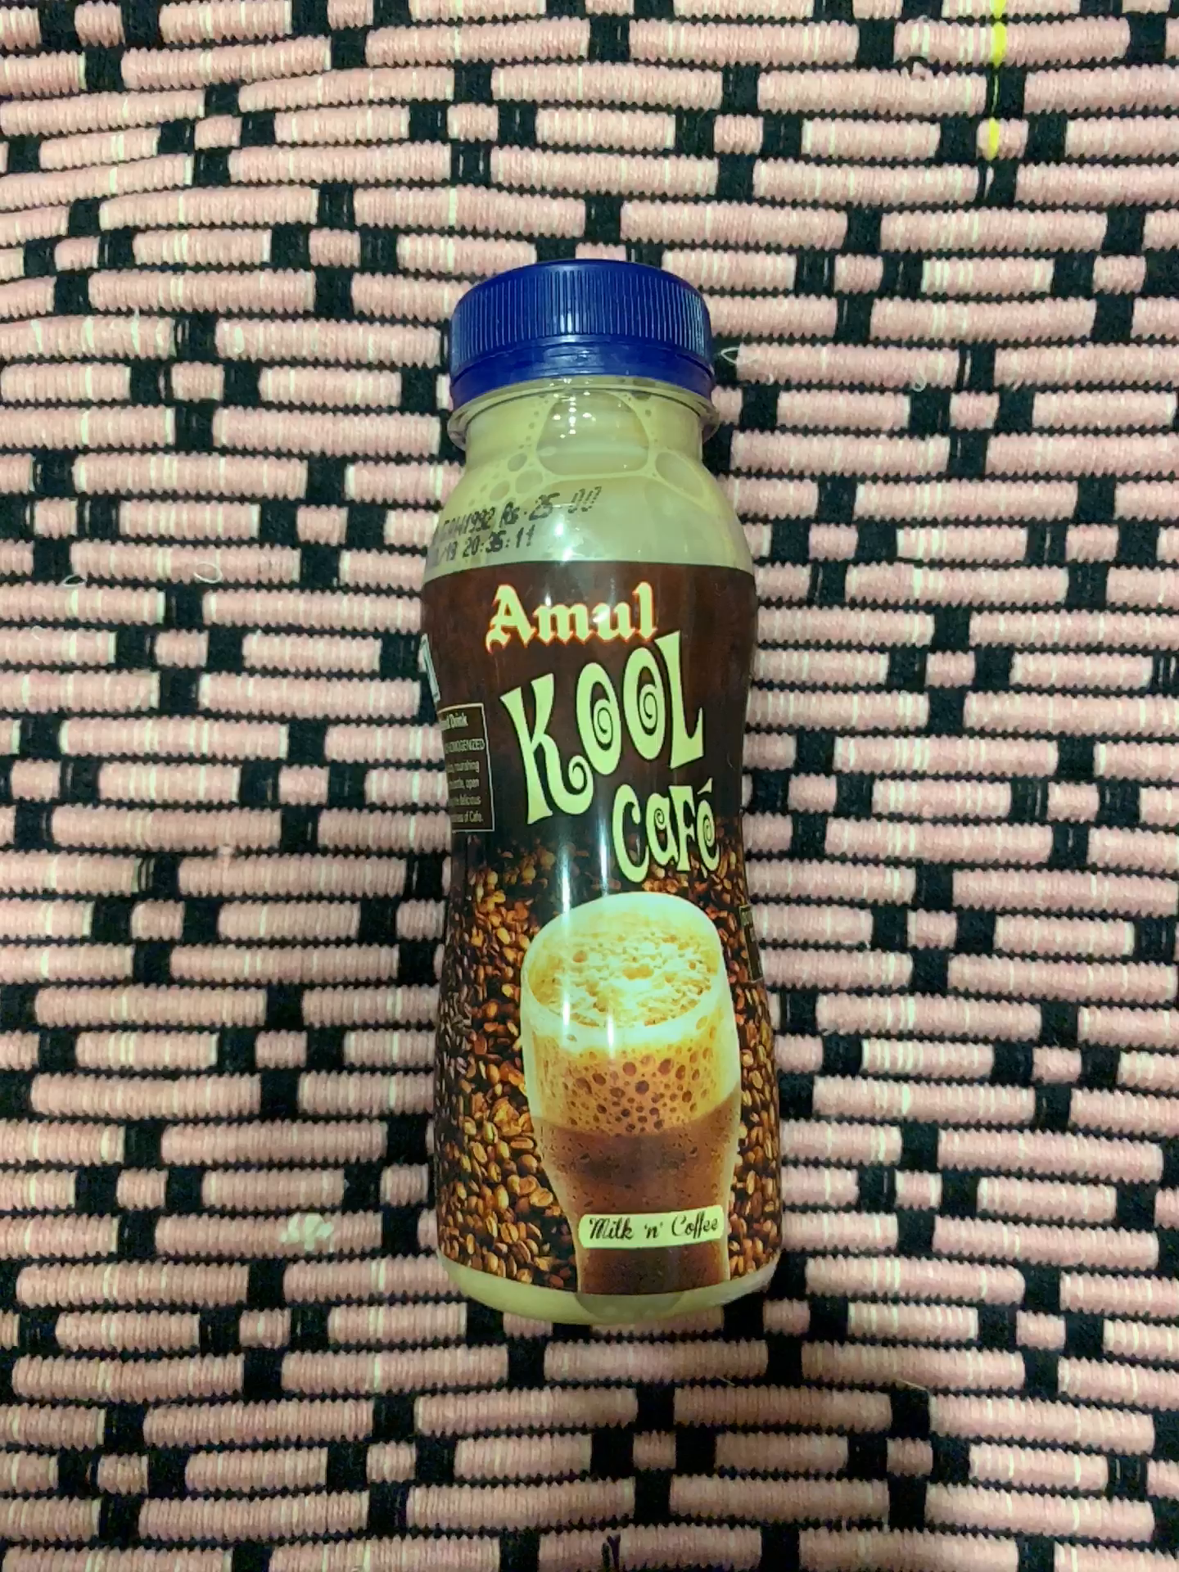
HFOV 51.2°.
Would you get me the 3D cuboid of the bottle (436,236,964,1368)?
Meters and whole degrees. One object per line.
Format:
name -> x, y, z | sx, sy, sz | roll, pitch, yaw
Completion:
bottle -> 0.011, 0.000, 0.179 | 0.060, 0.050, 0.140 | -2, 84, -5
